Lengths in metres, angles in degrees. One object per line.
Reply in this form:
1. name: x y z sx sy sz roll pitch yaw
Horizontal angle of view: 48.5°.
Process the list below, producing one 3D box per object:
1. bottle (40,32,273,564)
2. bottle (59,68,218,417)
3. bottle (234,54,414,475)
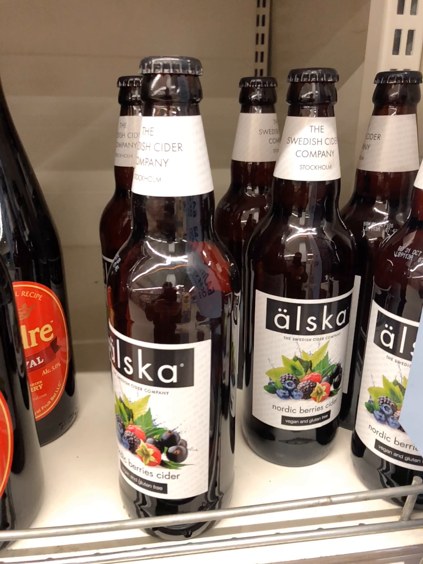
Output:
1. bottle: -0.020 0.013 0.229 0.070 0.229 0.063 12 23 30
2. bottle: -0.047 -0.029 0.356 0.075 0.235 0.077 0 20 0
3. bottle: 0.059 -0.005 0.296 0.070 0.244 0.063 -5 21 -14
